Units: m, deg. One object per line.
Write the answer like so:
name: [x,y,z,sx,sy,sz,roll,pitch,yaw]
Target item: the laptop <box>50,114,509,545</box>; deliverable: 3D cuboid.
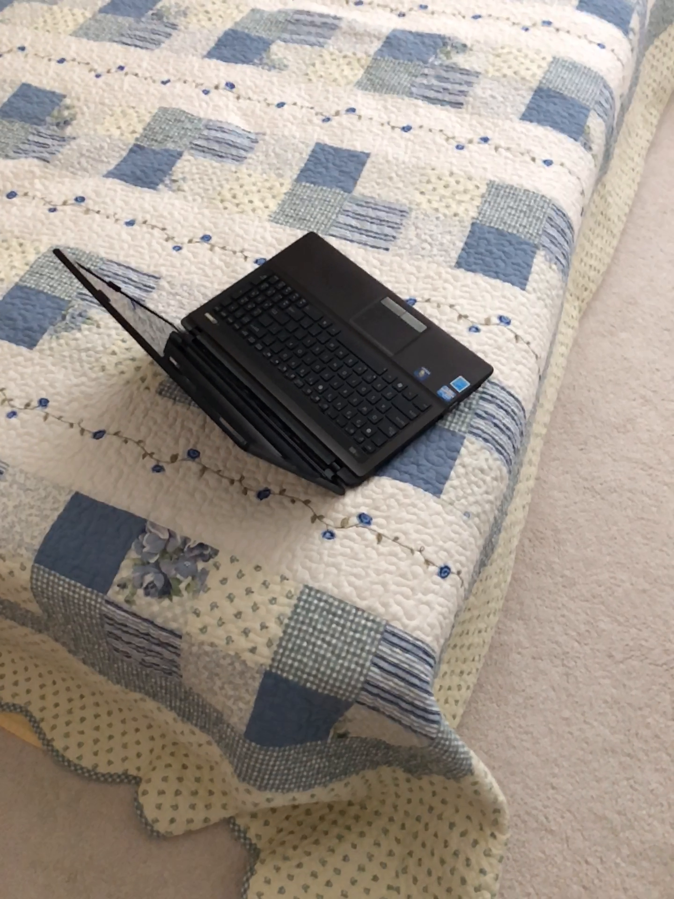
laptop: [-0.062,-0.158,0.873,0.350,0.193,0.358,-37,61,-18]
